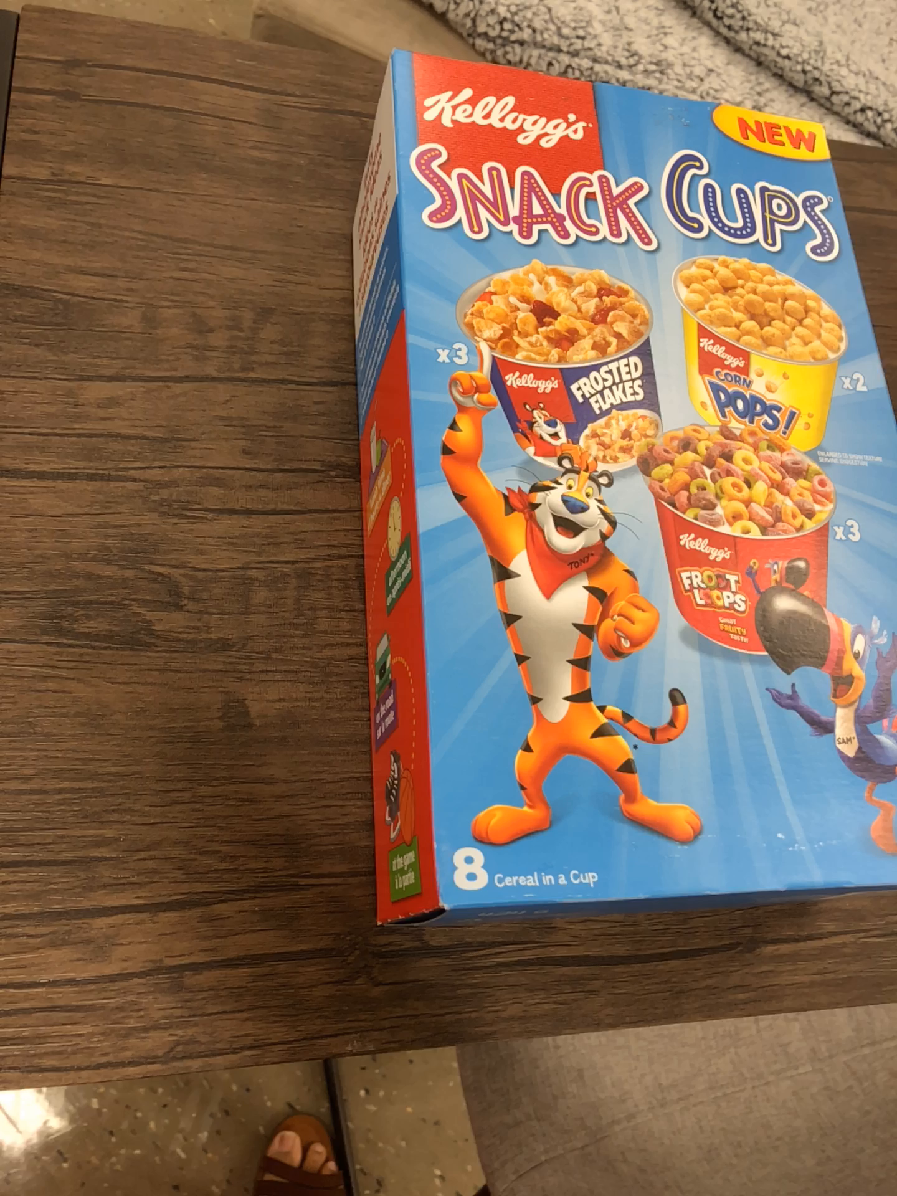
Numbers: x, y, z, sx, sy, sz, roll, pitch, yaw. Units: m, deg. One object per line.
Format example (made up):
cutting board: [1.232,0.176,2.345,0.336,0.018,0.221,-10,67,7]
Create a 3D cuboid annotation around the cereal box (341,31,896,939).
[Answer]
cereal box: [0.078,-0.043,0.404,0.220,0.100,0.330,2,71,-15]
